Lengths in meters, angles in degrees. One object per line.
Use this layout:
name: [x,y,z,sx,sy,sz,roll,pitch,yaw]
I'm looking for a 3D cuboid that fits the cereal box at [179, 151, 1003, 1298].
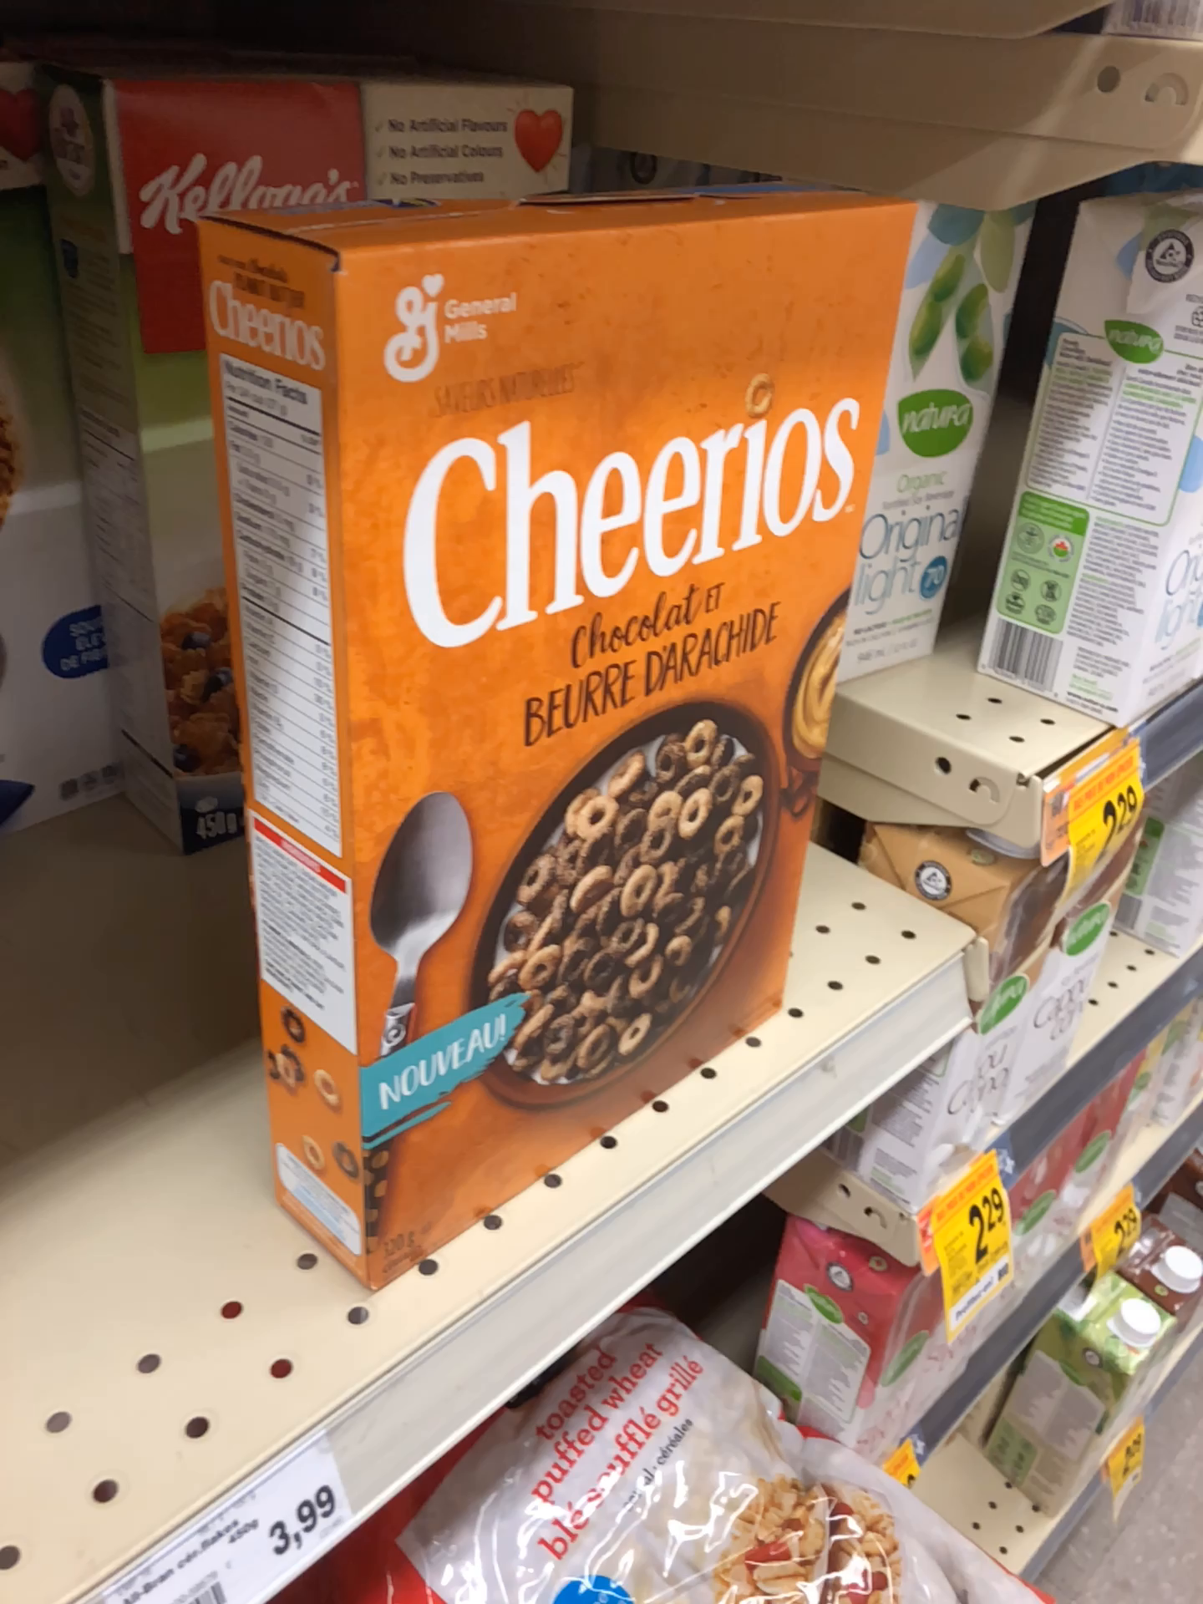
cereal box: [0.003,-0.026,0.367,0.050,0.268,0.211,31,40,35]
